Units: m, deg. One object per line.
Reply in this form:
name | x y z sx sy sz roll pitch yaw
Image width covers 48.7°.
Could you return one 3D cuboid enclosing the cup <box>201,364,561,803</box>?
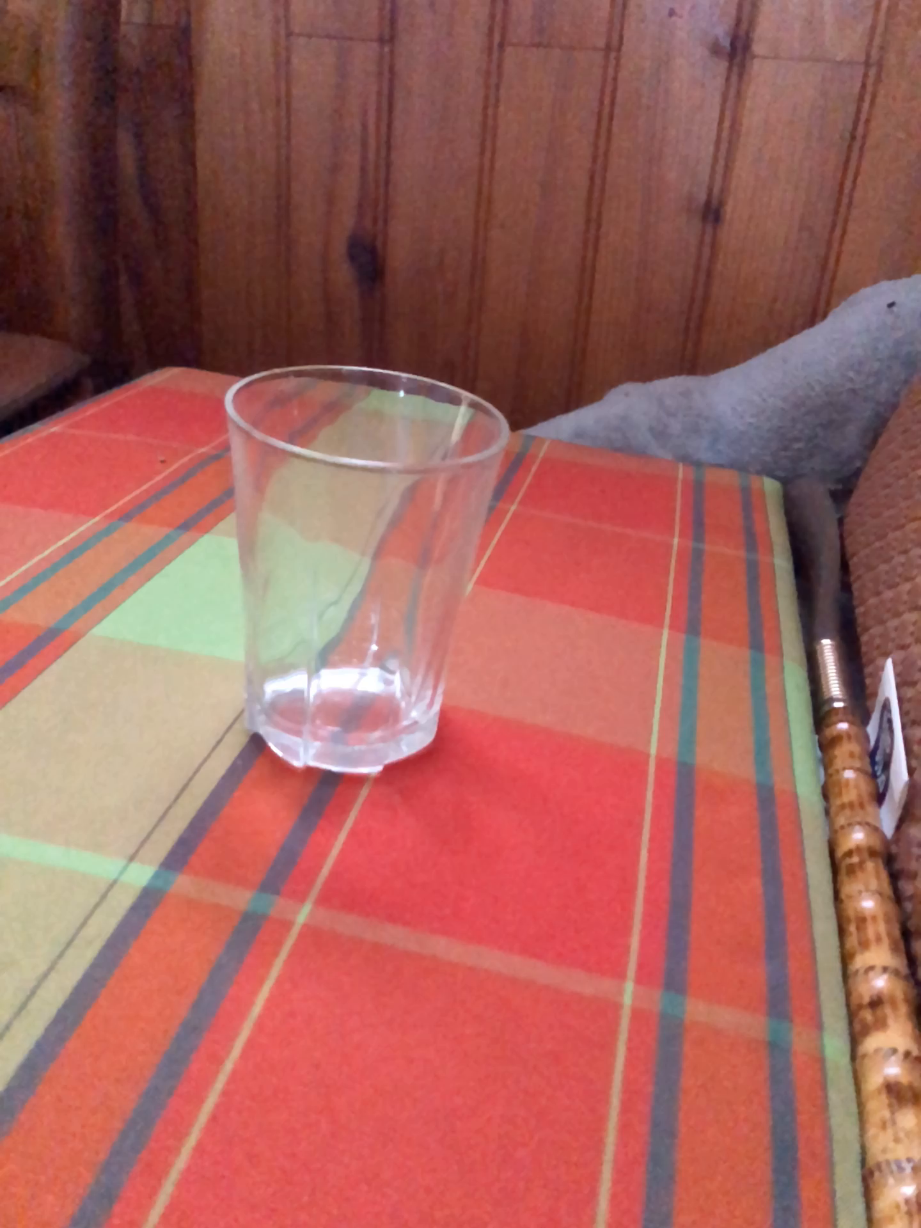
cup | -0.023 -0.009 0.247 0.070 0.079 0.070 5 30 -3
